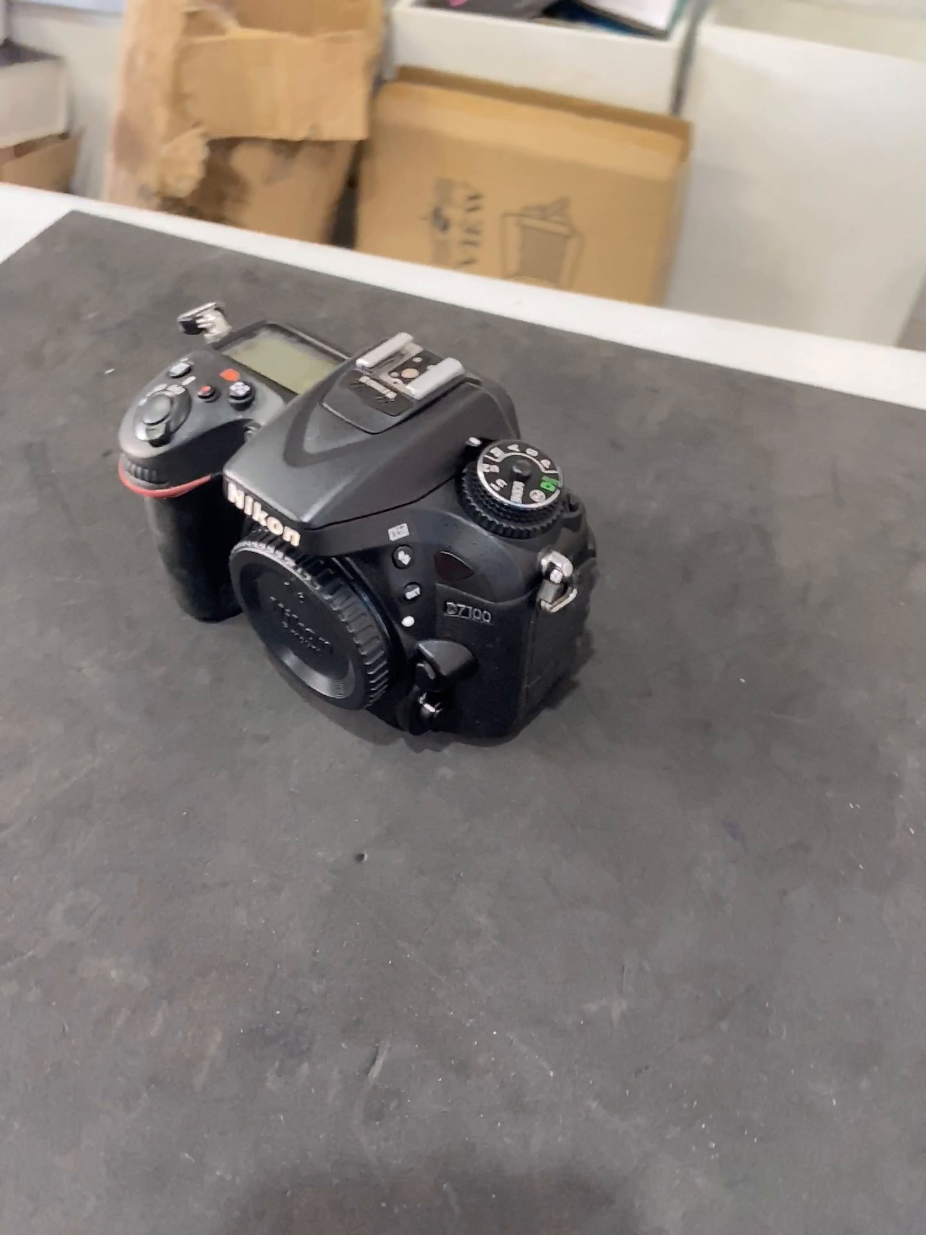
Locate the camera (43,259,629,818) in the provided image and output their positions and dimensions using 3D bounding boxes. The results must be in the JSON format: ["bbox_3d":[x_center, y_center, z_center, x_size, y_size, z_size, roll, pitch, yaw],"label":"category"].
[{"bbox_3d":[-0.037,-0.028,0.291,0.140,0.092,0.078,30,55,23],"label":"camera"}]
